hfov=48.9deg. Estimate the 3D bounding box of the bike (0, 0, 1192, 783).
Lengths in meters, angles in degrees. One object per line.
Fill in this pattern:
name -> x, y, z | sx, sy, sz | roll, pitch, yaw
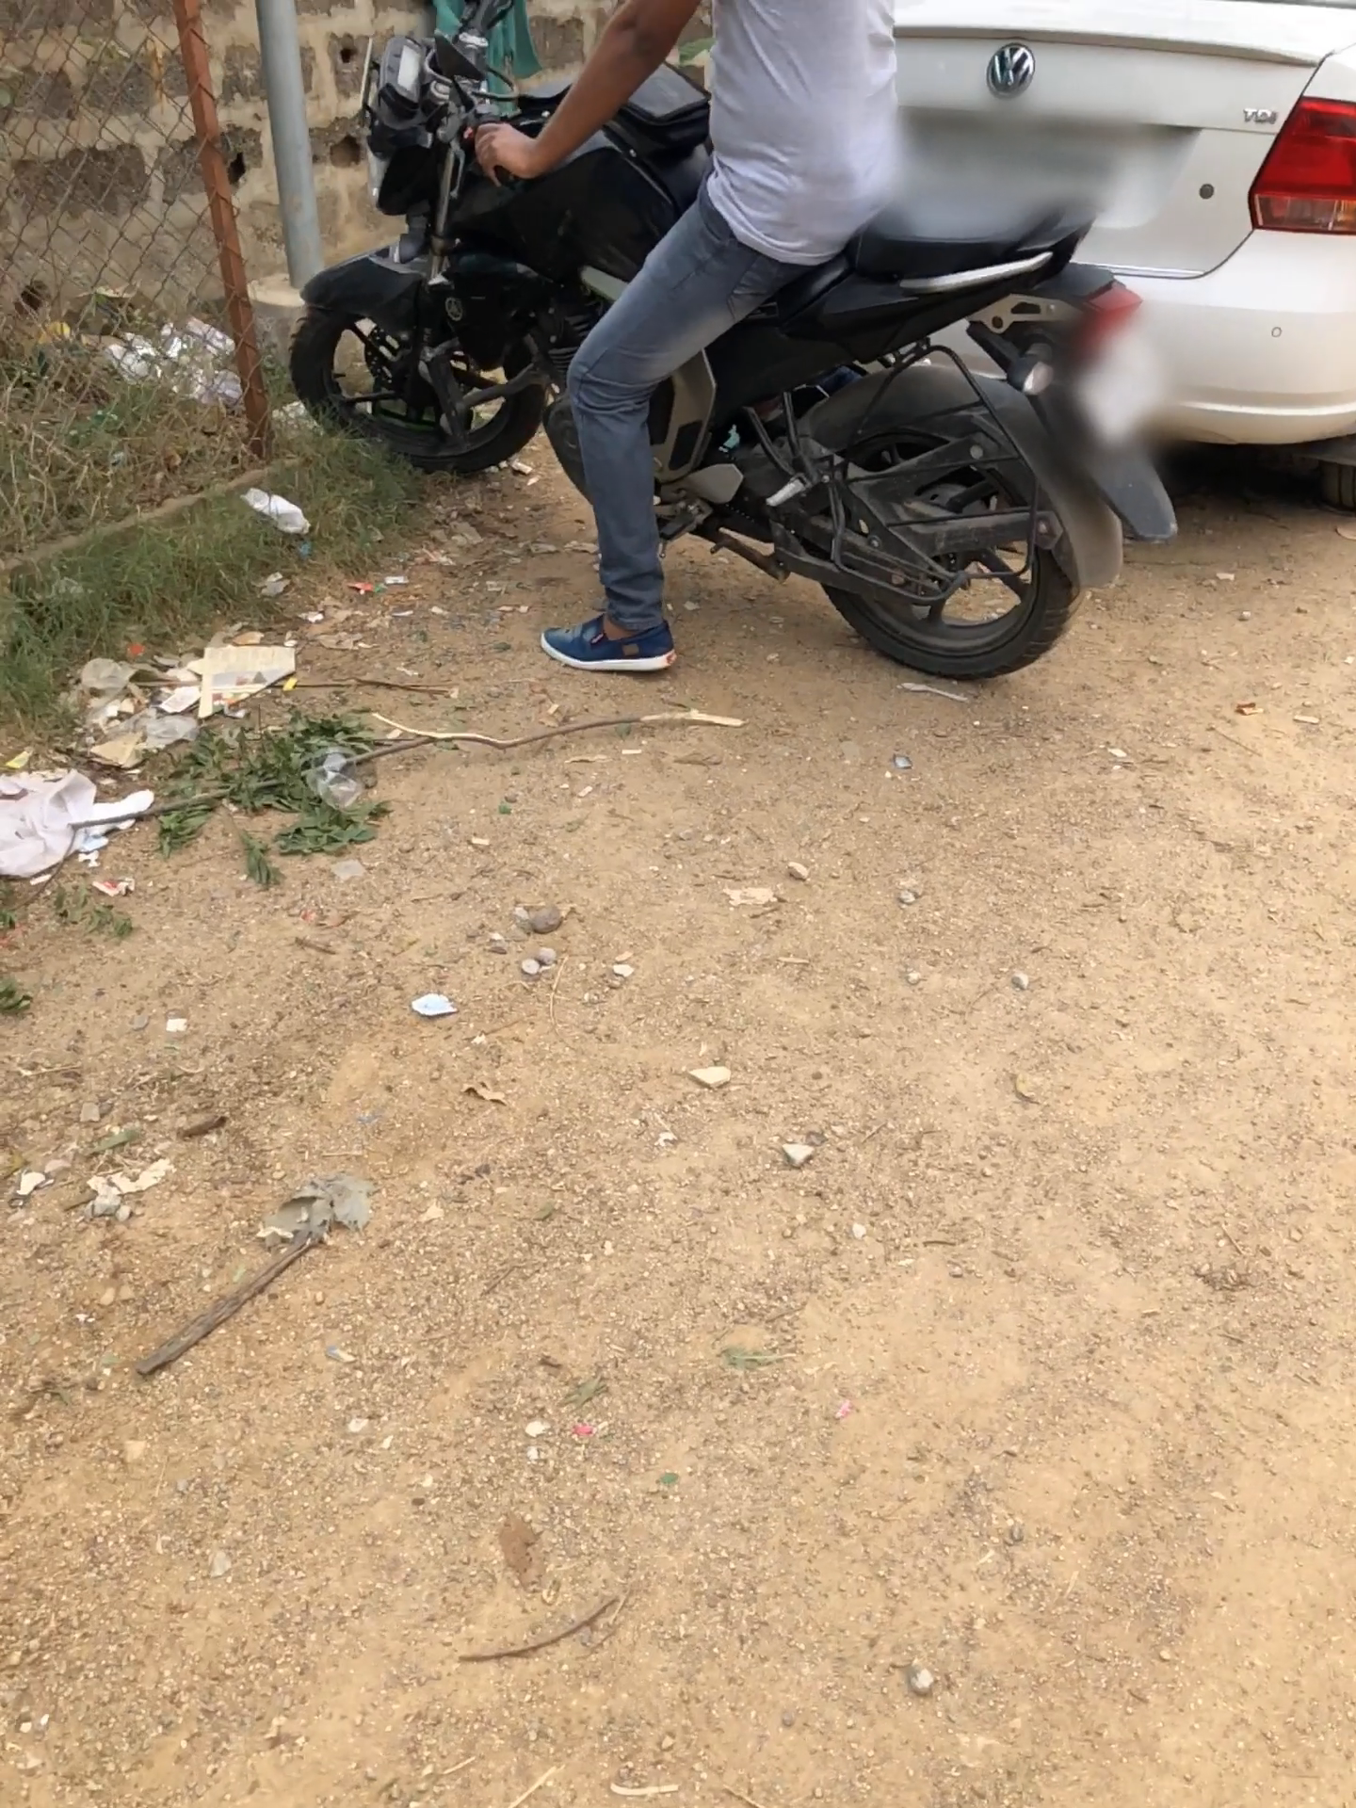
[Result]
bike -> -0.158, -1.058, 2.358 | 1.618, 1.094, 0.530 | 20, 38, 19
